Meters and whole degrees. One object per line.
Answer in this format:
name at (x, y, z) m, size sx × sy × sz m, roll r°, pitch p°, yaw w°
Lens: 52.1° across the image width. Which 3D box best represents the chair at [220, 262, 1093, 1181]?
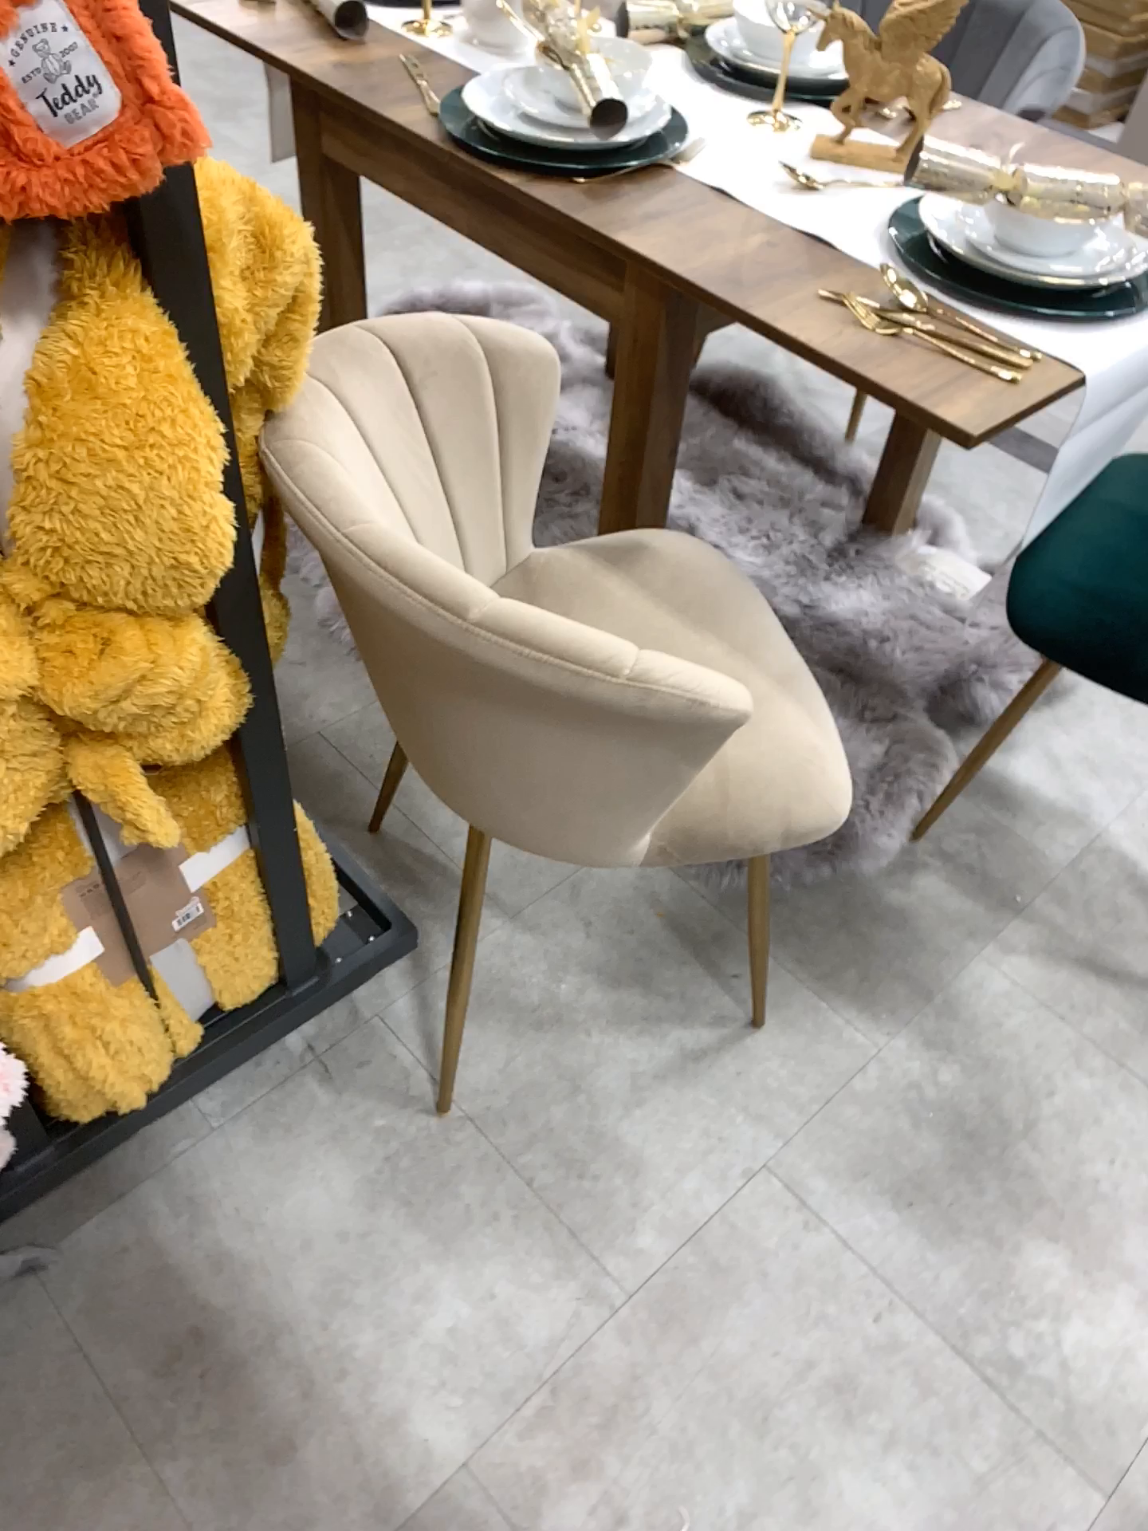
chair at (0.004, -0.050, 1.217) m, size 0.573 × 0.666 × 0.566 m, roll -10°, pitch 49°, yaw -14°
